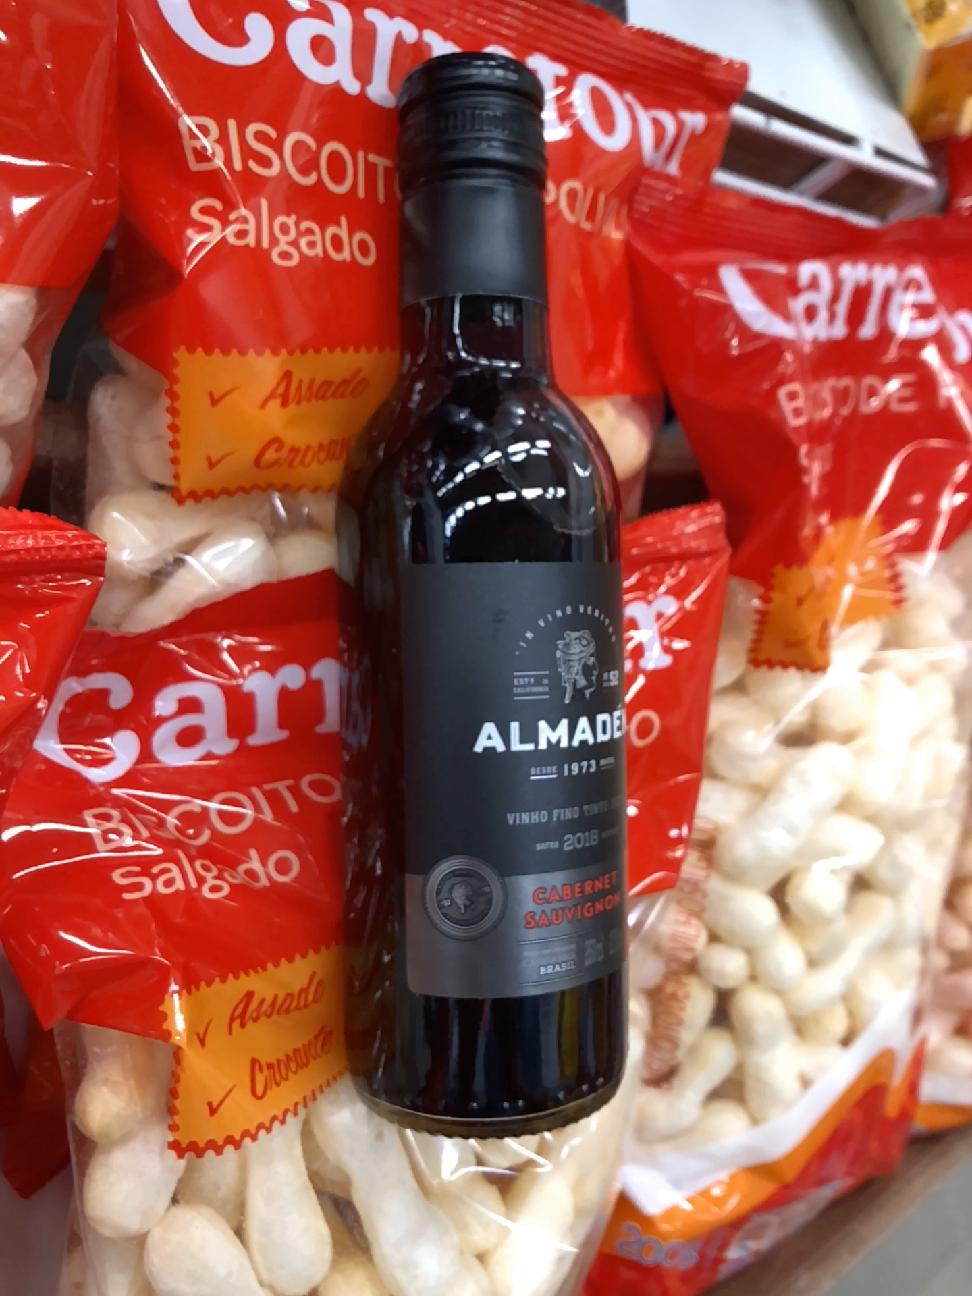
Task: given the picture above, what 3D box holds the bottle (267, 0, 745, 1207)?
[{"bbox_3d":[0.004,-0.016,0.204,0.060,0.050,0.200,-3,89,-42],"label":"bottle"}]
